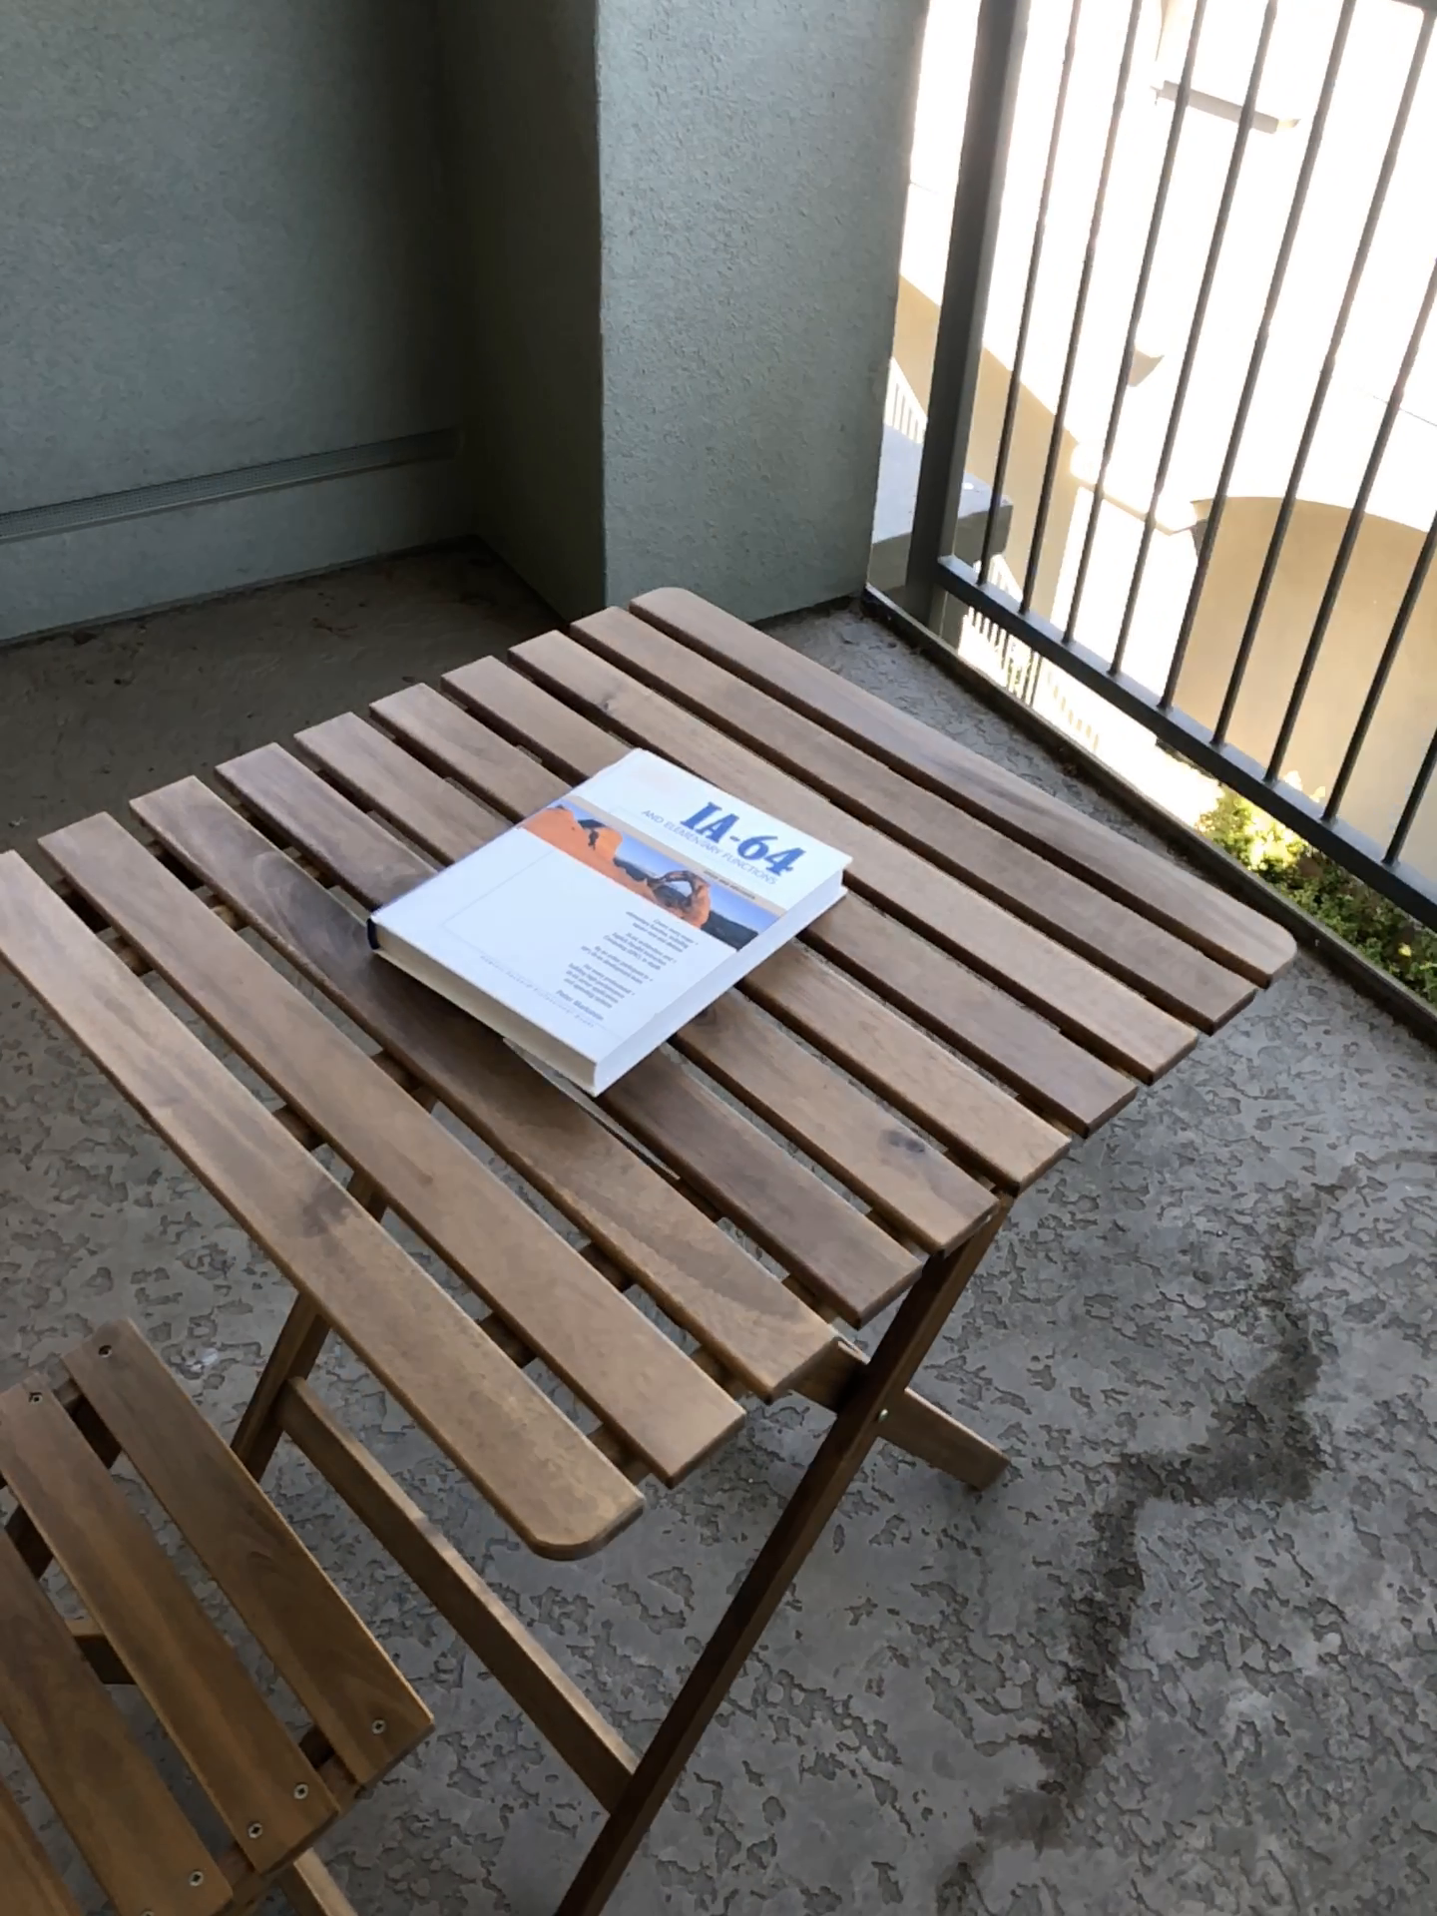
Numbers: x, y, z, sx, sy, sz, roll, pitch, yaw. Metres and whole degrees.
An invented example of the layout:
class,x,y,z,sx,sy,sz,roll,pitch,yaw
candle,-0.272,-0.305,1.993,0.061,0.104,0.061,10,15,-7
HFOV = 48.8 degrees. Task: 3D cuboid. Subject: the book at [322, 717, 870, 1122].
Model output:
class,x,y,z,sx,sy,sz,roll,pitch,yaw
book,-0.067,-0.036,0.932,0.200,0.040,0.251,30,49,27
